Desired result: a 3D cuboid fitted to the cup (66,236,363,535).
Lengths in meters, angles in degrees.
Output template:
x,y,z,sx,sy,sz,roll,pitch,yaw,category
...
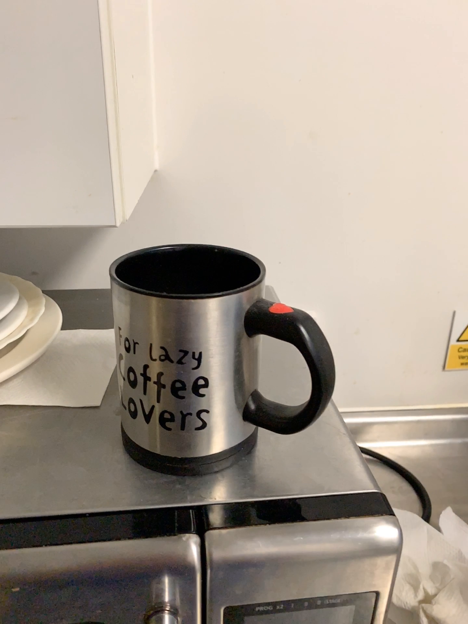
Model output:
x,y,z,sx,sy,sz,roll,pitch,yaw,category
-0.011,0.028,0.286,0.133,0.108,0.096,15,27,31,cup
